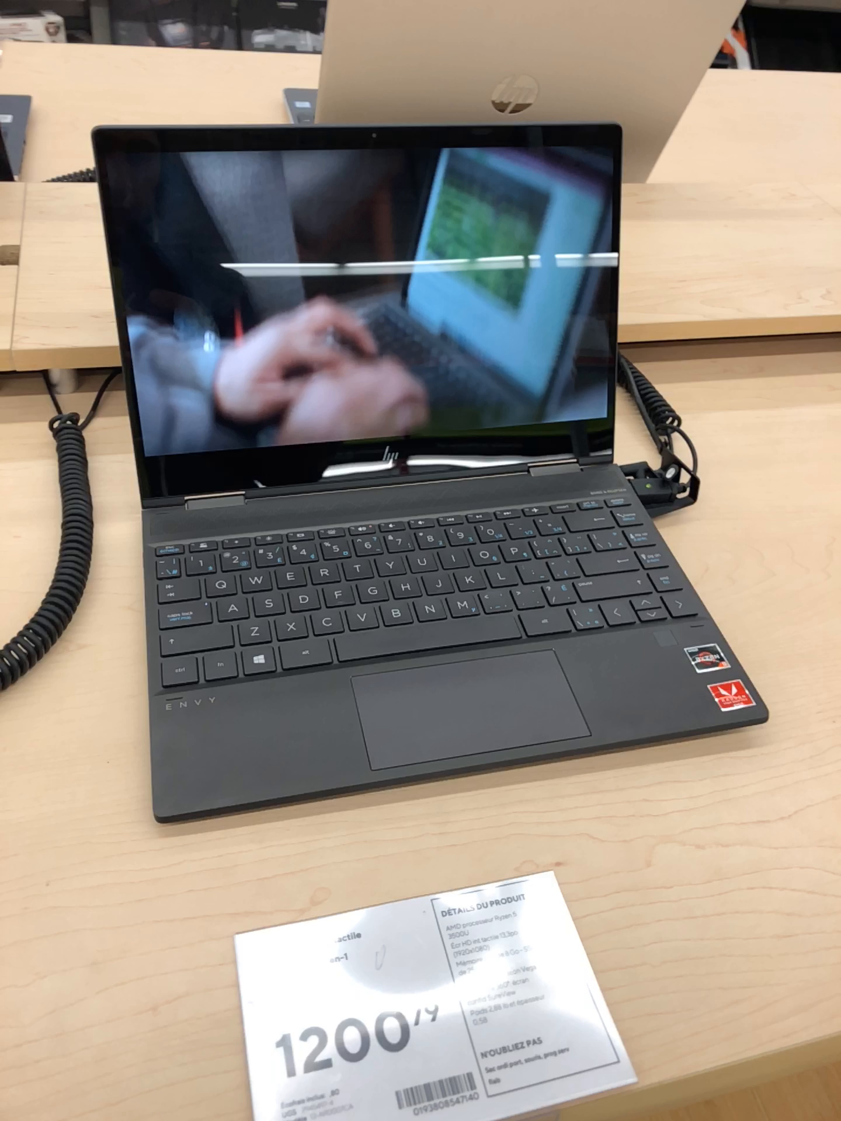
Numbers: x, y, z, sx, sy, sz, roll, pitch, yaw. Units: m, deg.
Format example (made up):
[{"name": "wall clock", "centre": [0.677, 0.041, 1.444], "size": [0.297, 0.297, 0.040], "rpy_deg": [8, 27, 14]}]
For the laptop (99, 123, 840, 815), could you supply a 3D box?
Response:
[{"name": "laptop", "centre": [0.007, -0.071, 0.472], "size": [0.294, 0.182, 0.289], "rpy_deg": [-6, 46, -15]}]
